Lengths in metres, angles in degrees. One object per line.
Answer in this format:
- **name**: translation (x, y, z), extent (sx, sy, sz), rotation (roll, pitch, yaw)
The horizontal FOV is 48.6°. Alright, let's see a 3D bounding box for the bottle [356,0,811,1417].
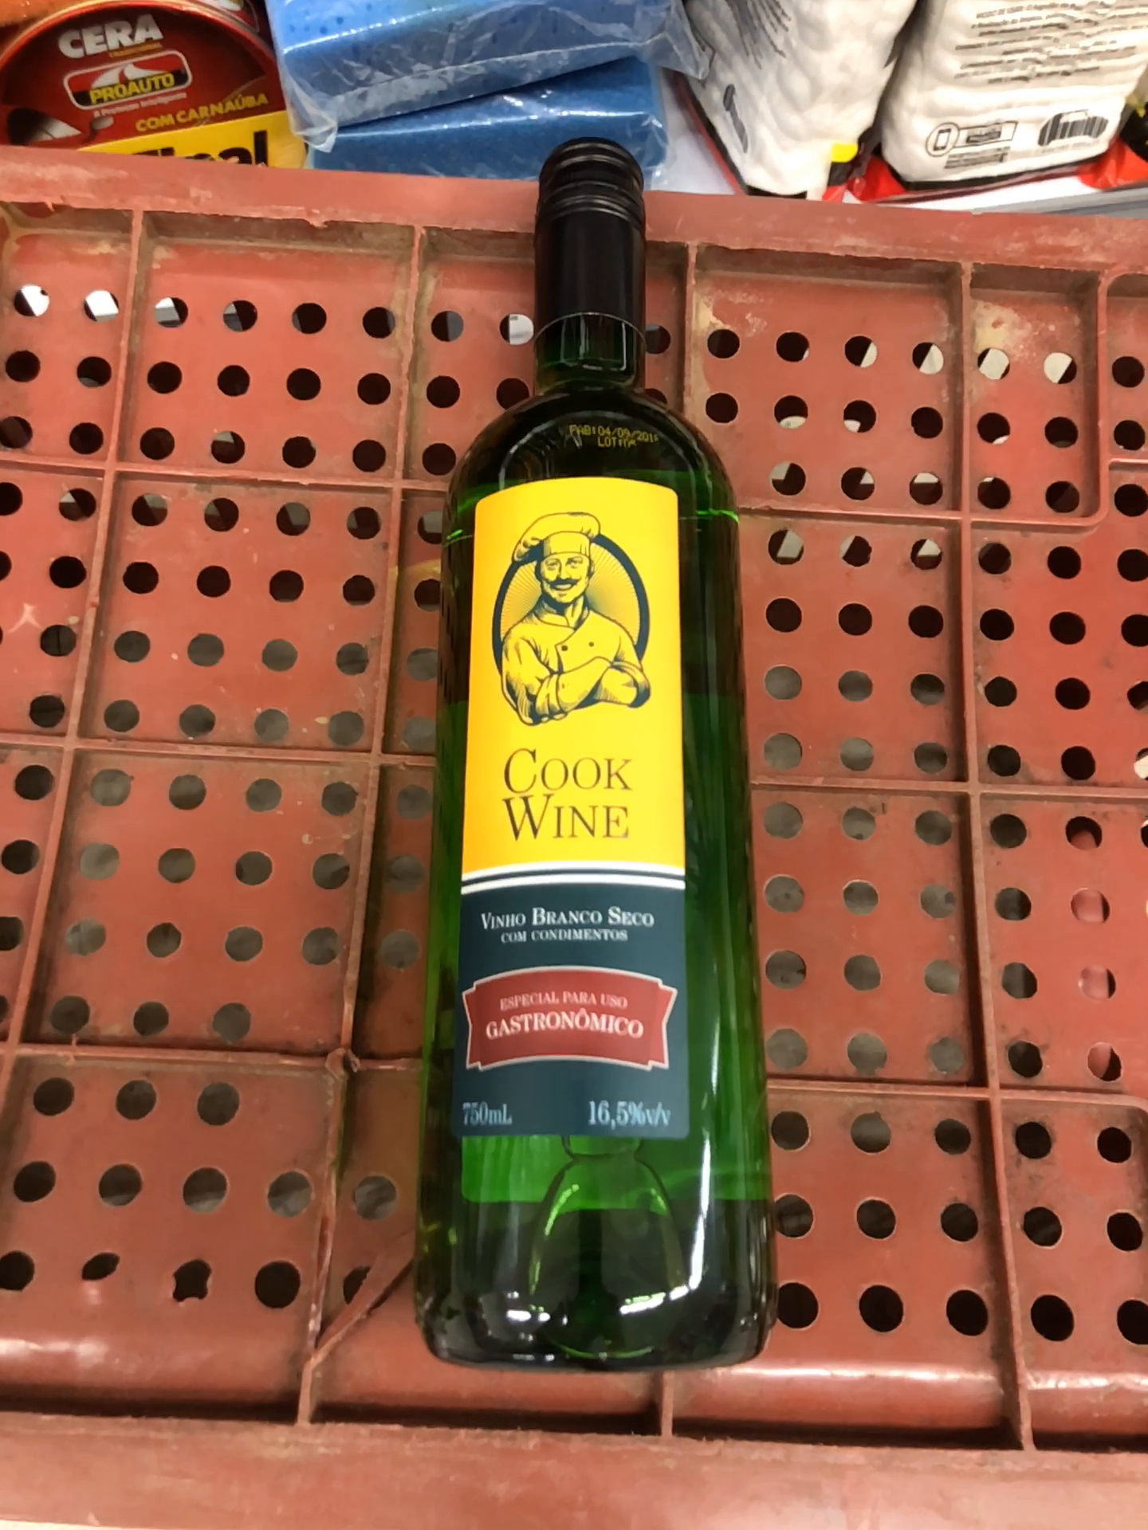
- **bottle**: translation (0.006, -0.032, 0.297), extent (0.080, 0.060, 0.321), rotation (-2, 73, 8)
